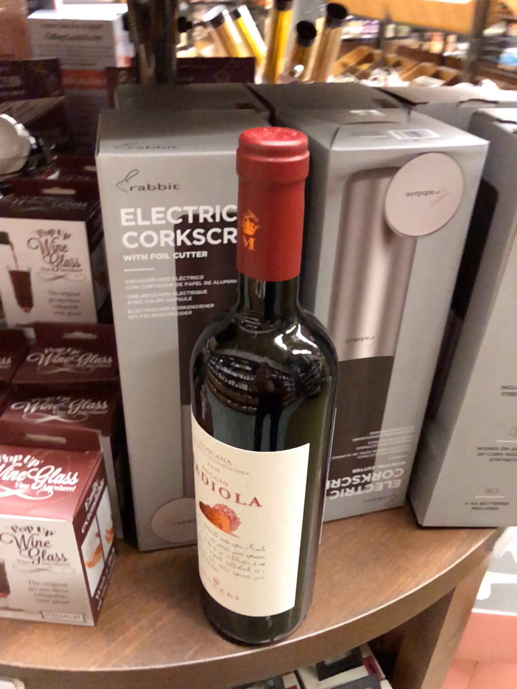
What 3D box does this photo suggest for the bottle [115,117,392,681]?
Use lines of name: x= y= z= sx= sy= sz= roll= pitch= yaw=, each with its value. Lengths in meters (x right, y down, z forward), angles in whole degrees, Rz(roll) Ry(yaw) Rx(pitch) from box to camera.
bottle: x=-0.003 y=0.045 z=0.295 sx=0.076 sy=0.285 sz=0.072 roll=1 pitch=33 yaw=0
